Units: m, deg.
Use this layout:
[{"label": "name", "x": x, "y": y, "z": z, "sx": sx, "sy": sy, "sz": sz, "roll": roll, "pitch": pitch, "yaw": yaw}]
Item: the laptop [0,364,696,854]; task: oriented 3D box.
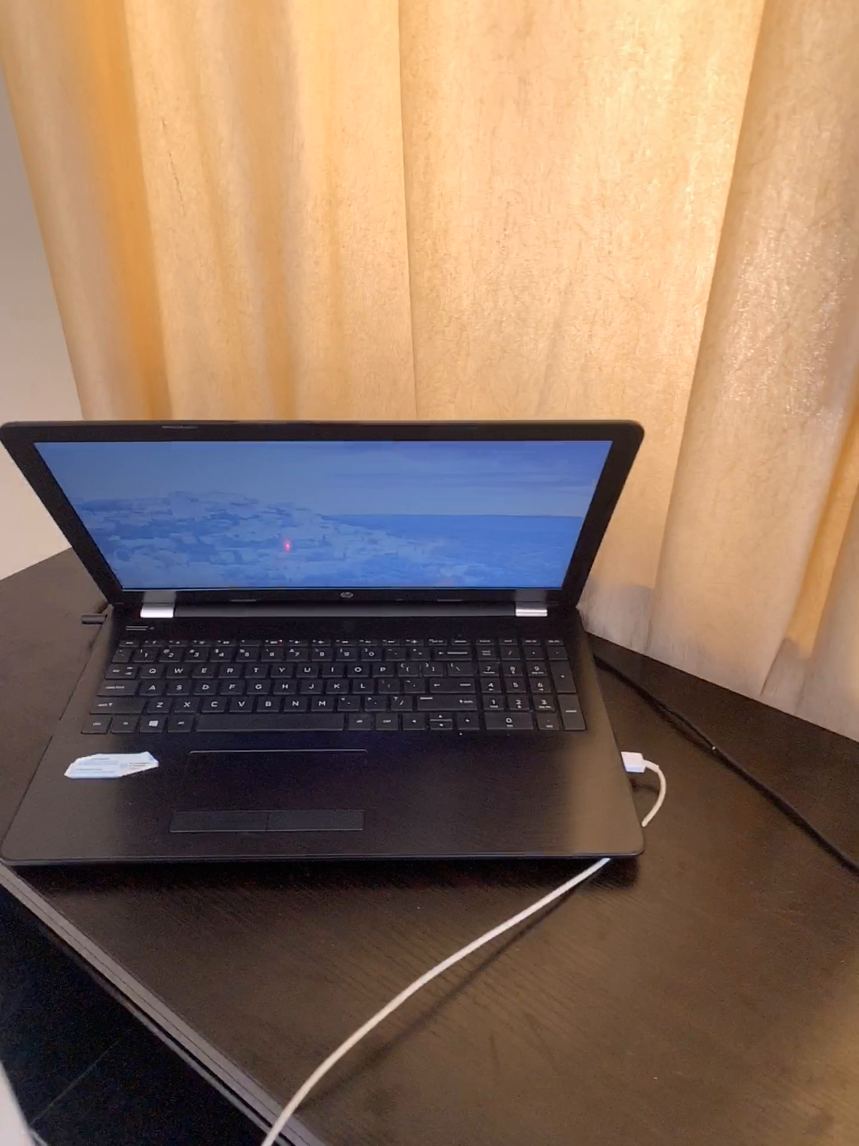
[{"label": "laptop", "x": -0.062, "y": 0.010, "z": 0.558, "sx": 0.362, "sy": 0.201, "sz": 0.239, "roll": 0, "pitch": 33, "yaw": 0}]
